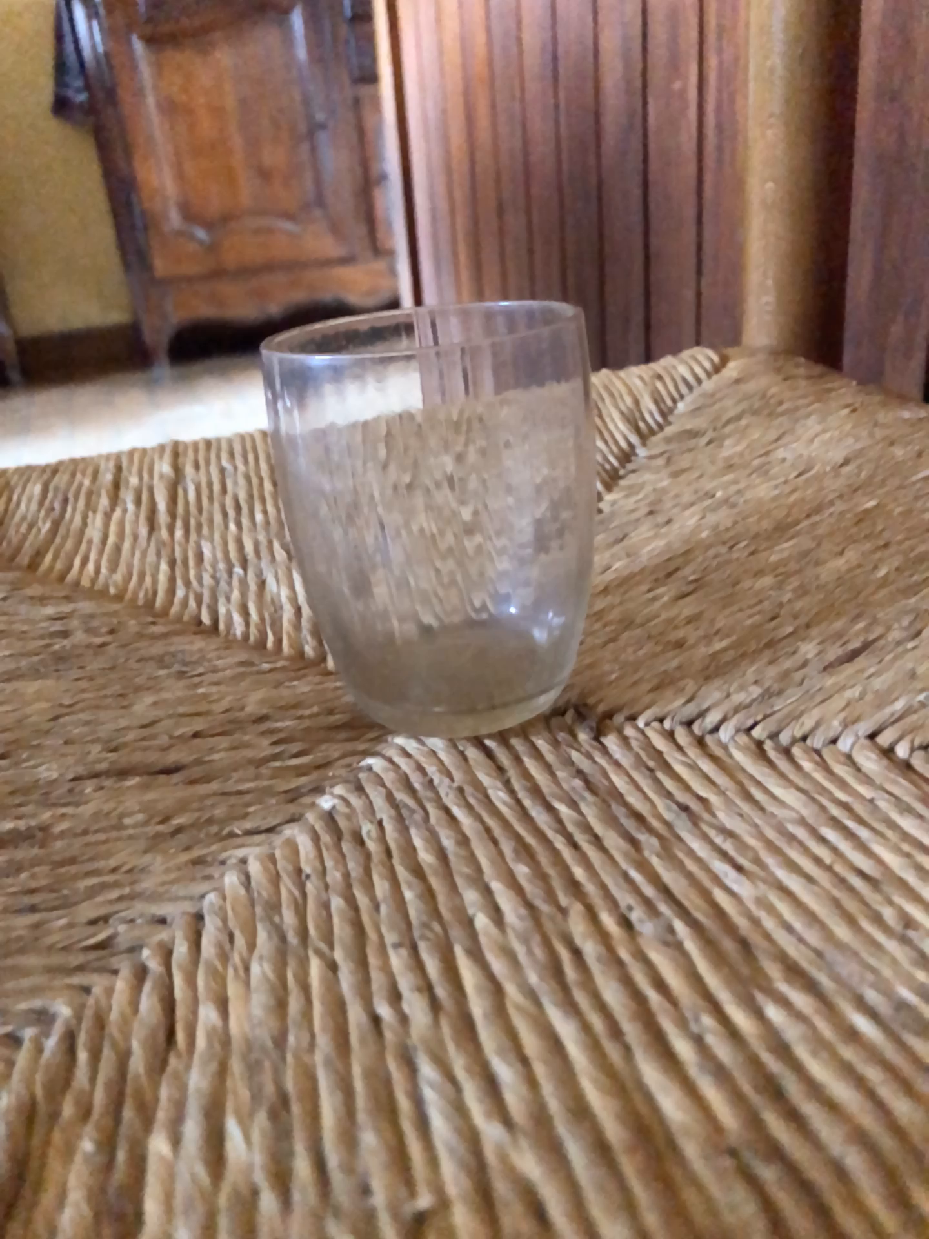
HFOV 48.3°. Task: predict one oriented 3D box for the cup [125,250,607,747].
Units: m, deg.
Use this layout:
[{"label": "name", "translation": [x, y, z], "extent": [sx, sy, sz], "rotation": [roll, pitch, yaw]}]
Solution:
[{"label": "cup", "translation": [-0.012, -0.028, 0.216], "extent": [0.070, 0.080, 0.070], "rotation": [-5, 25, 2]}]
